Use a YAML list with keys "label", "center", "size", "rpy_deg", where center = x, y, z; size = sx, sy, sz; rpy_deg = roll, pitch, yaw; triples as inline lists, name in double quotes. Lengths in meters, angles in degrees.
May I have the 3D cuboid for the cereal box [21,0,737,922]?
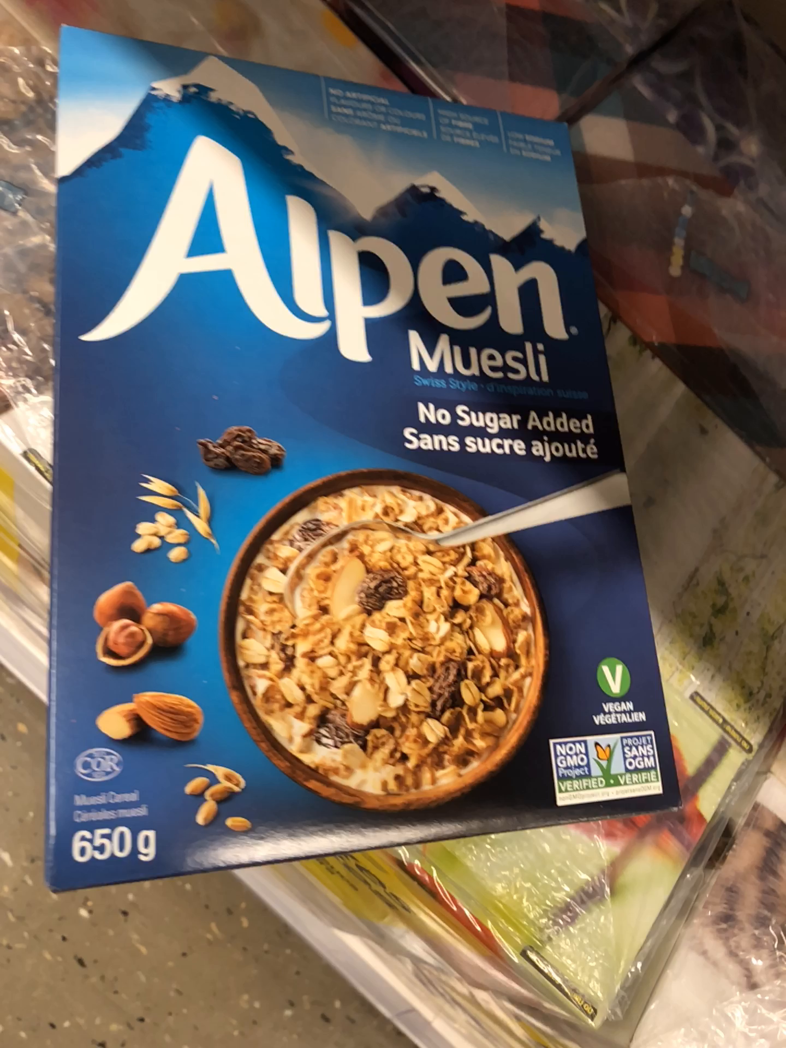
- label: "cereal box"
  center: [-0.011, -0.038, 0.277]
  size: [0.190, 0.050, 0.270]
  rpy_deg: [0, 74, -21]
